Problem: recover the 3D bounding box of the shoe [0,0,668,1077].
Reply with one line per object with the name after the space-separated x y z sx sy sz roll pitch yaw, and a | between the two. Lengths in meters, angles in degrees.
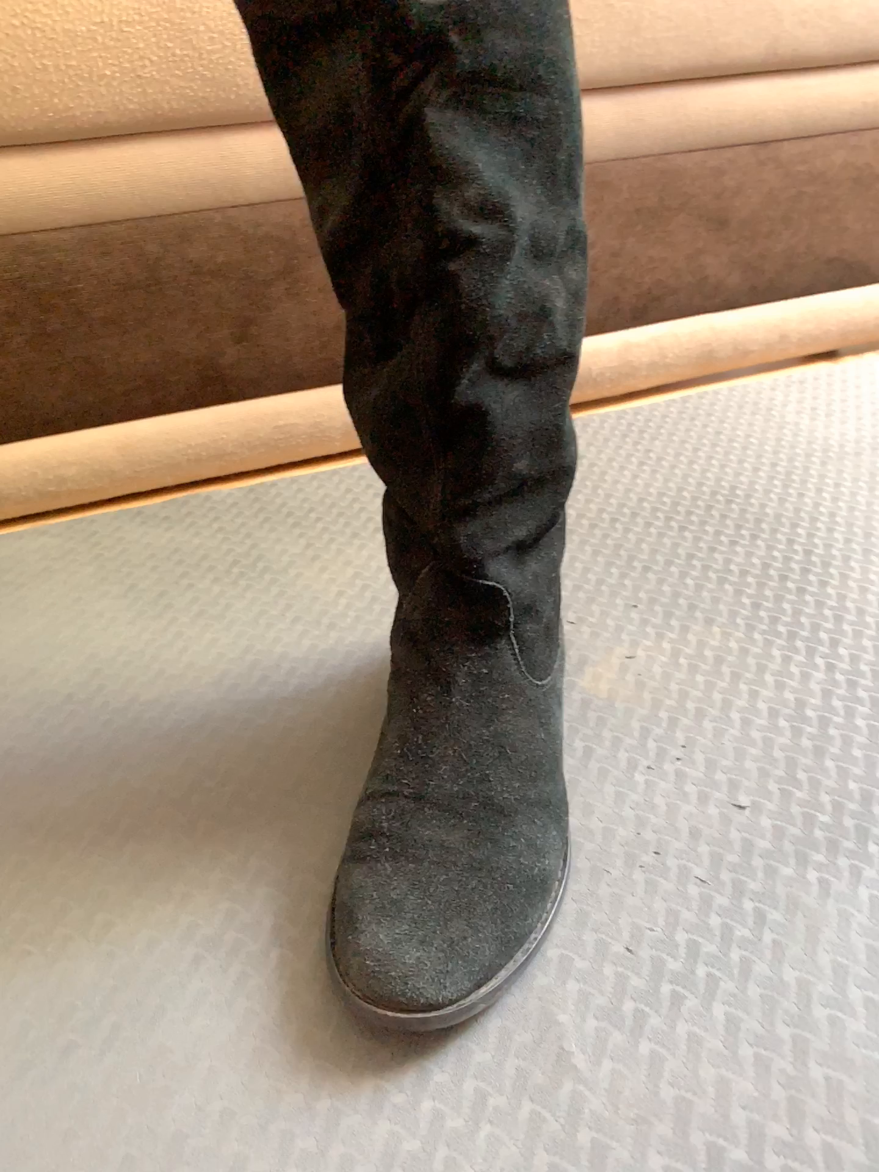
0.002 -0.094 0.336 0.130 0.378 0.322 1 30 11 | shoe
